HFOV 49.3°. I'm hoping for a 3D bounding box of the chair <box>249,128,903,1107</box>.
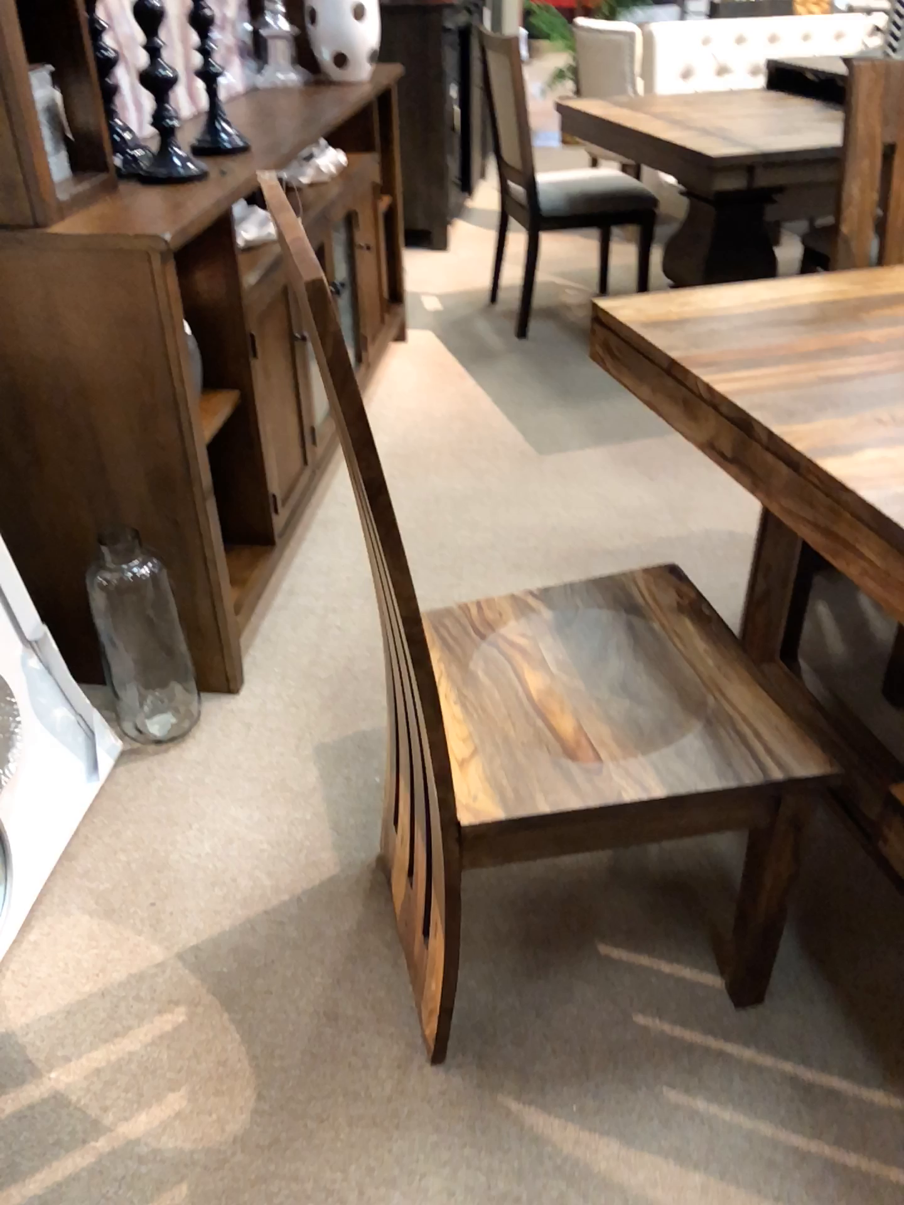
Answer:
[{"bbox_3d":[0.129,0.031,1.221,0.590,1.023,0.514,-8,35,-11],"label":"chair"}]
